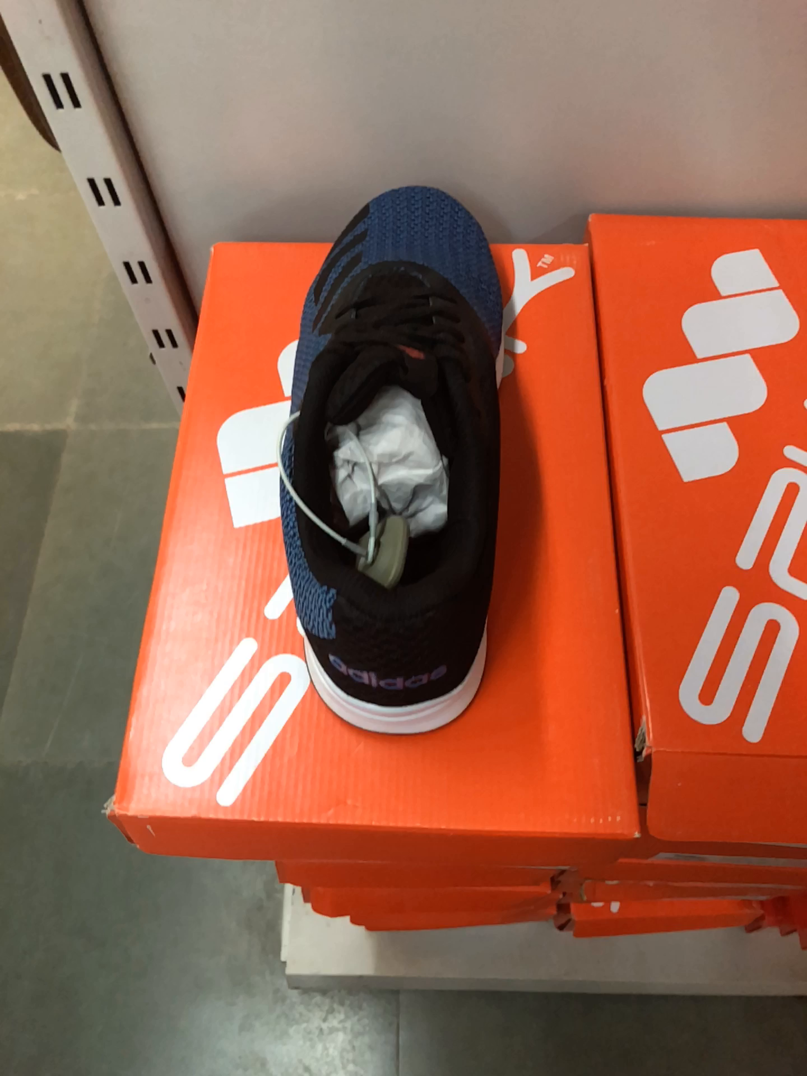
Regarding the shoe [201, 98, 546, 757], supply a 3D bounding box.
[{"bbox_3d":[-0.004,-0.048,0.391,0.105,0.135,0.255,0,61,3],"label":"shoe"}]
